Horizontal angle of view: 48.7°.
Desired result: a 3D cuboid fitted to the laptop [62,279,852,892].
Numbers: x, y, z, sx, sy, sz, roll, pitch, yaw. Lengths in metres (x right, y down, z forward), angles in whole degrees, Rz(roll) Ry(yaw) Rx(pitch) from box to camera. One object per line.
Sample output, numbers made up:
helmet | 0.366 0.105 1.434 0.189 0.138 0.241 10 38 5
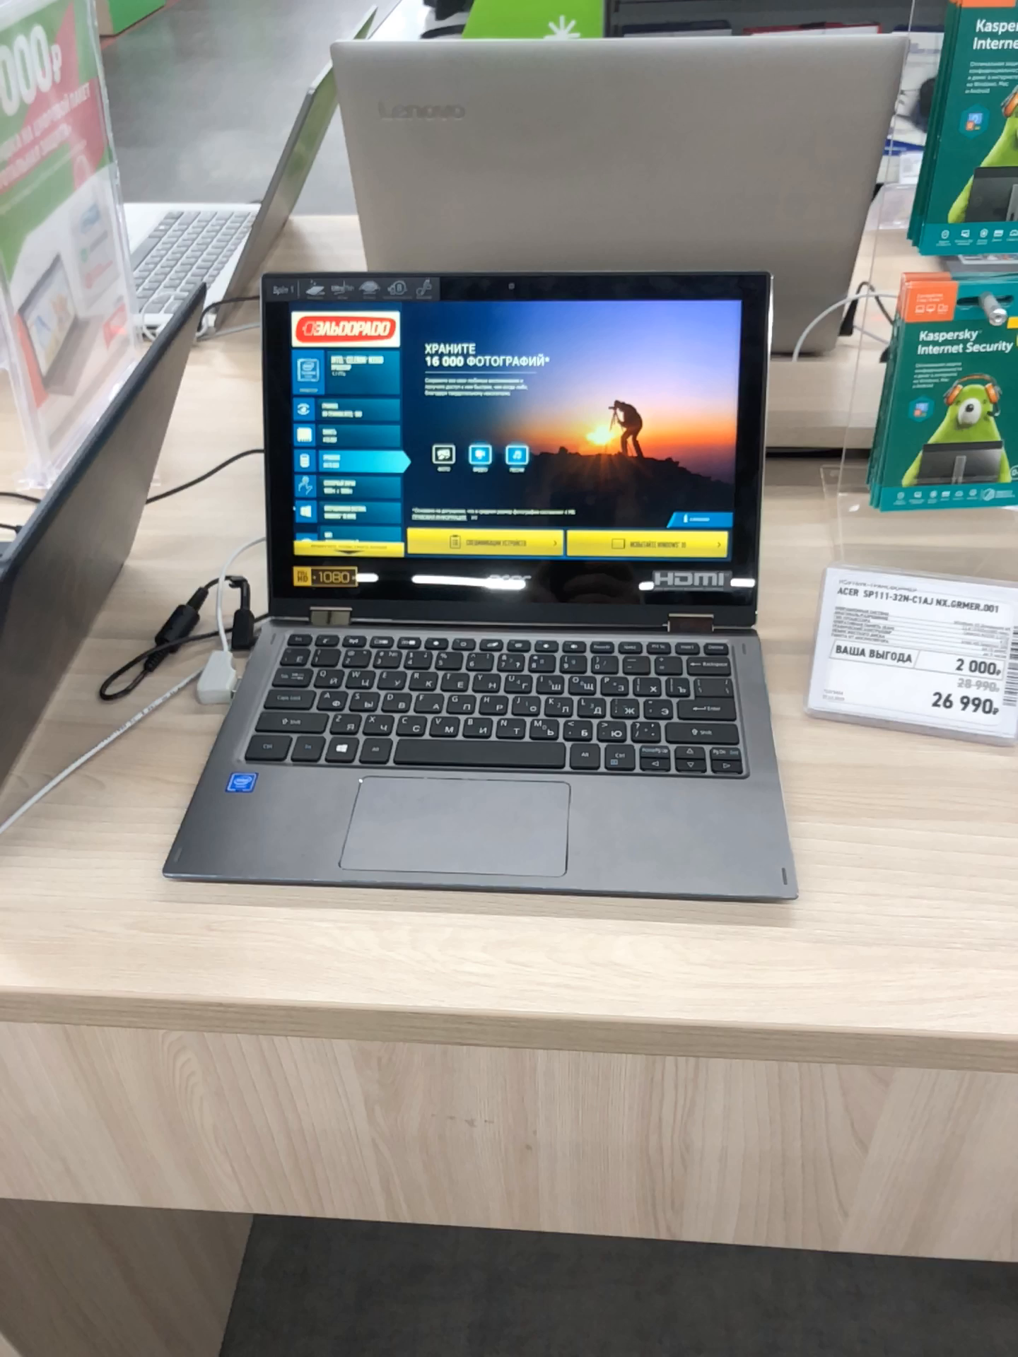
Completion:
laptop | -0.008 -0.068 0.577 0.287 0.168 0.304 1 39 4

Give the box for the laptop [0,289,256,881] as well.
laptop | -0.320 -0.064 0.581 0.286 0.174 0.276 1 39 4
